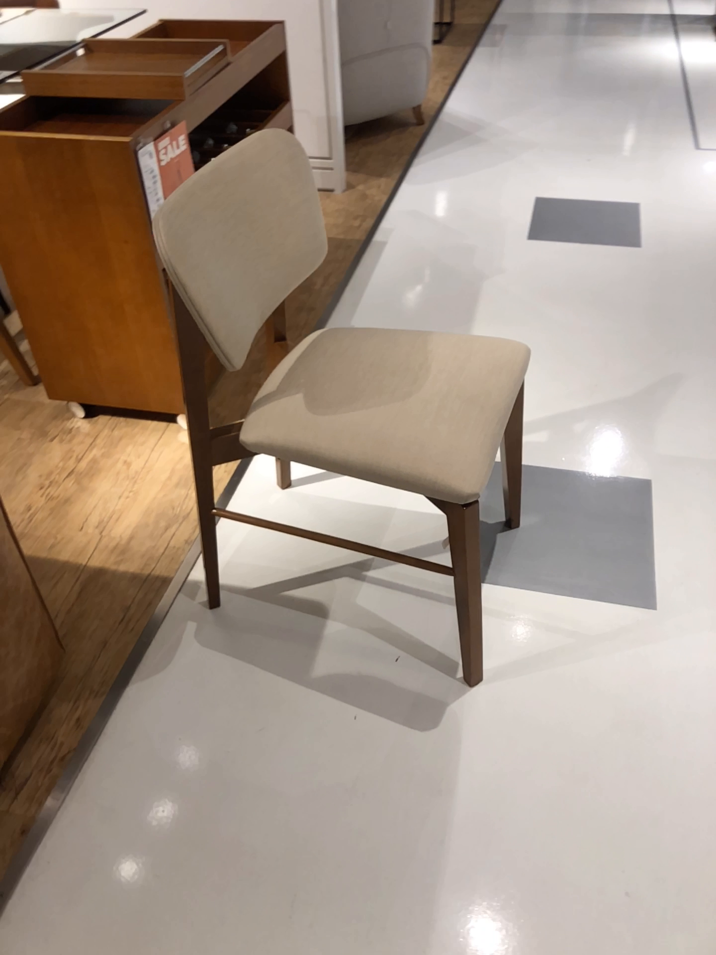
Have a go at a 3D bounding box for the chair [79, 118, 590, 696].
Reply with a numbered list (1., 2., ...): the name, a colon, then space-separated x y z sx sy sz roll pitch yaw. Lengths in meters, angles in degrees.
1. chair: 0.016 -0.127 1.372 0.590 0.764 0.514 11 43 16
